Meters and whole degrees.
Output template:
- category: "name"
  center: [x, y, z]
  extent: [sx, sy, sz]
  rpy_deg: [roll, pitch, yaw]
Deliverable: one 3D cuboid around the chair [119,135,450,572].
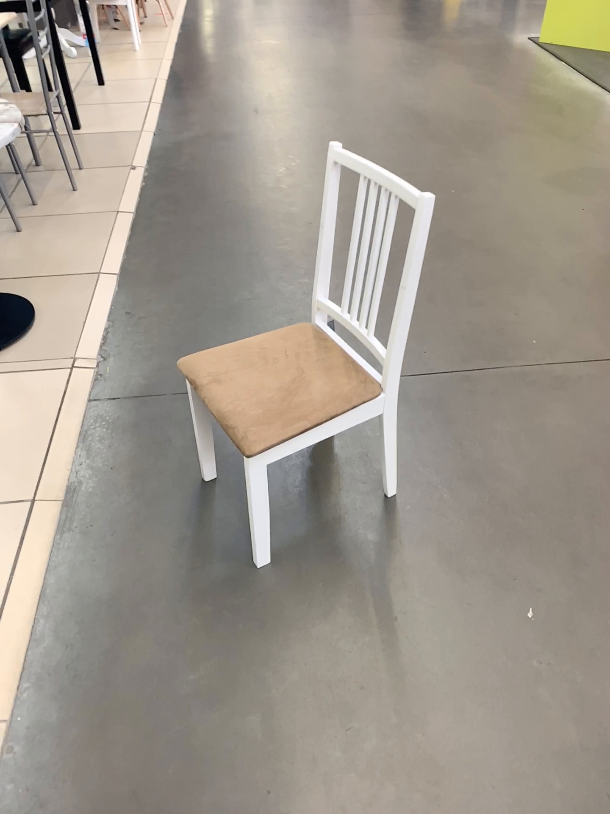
- category: "chair"
  center: [-0.036, -0.109, 1.456]
  extent: [0.500, 0.816, 0.402]
  rpy_deg: [-24, 46, -22]
